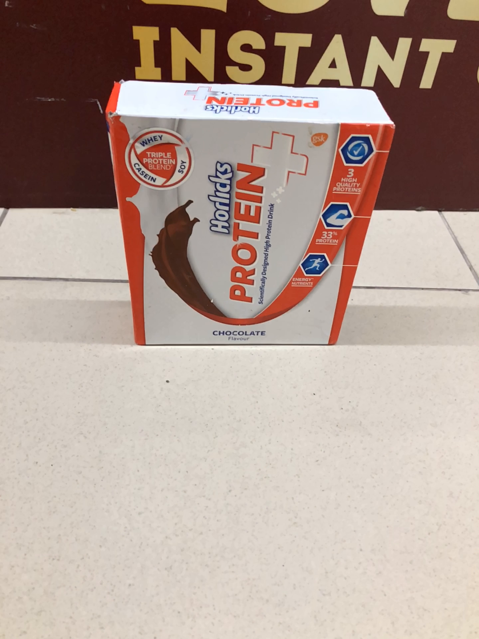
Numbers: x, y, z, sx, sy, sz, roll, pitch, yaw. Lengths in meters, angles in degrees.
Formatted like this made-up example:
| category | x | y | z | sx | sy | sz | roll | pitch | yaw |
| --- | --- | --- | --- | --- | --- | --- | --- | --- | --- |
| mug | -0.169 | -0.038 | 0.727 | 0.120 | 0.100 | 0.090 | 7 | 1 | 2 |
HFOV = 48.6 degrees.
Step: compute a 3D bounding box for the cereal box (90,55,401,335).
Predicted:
| category | x | y | z | sx | sy | sz | roll | pitch | yaw |
| --- | --- | --- | --- | --- | --- | --- | --- | --- | --- |
| cereal box | -0.001 | -0.062 | 0.307 | 0.140 | 0.149 | 0.050 | 0 | 43 | -5 |
